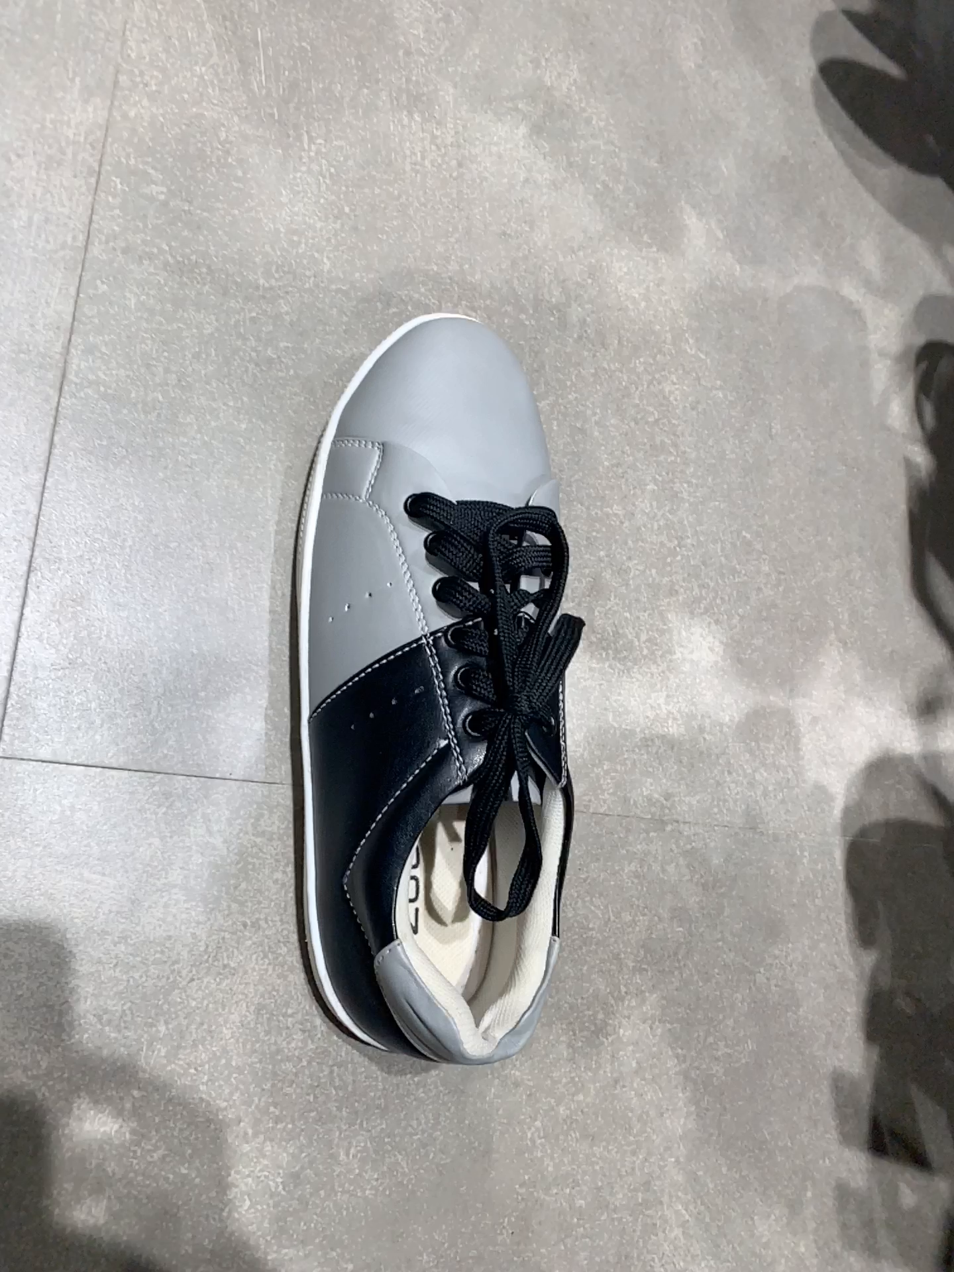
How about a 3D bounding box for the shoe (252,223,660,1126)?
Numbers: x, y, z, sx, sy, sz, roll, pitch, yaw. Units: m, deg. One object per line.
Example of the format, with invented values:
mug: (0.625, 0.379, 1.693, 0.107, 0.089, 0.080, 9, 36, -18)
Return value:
shoe: (-0.012, 0.012, 0.345, 0.101, 0.093, 0.263, 6, 76, -26)
